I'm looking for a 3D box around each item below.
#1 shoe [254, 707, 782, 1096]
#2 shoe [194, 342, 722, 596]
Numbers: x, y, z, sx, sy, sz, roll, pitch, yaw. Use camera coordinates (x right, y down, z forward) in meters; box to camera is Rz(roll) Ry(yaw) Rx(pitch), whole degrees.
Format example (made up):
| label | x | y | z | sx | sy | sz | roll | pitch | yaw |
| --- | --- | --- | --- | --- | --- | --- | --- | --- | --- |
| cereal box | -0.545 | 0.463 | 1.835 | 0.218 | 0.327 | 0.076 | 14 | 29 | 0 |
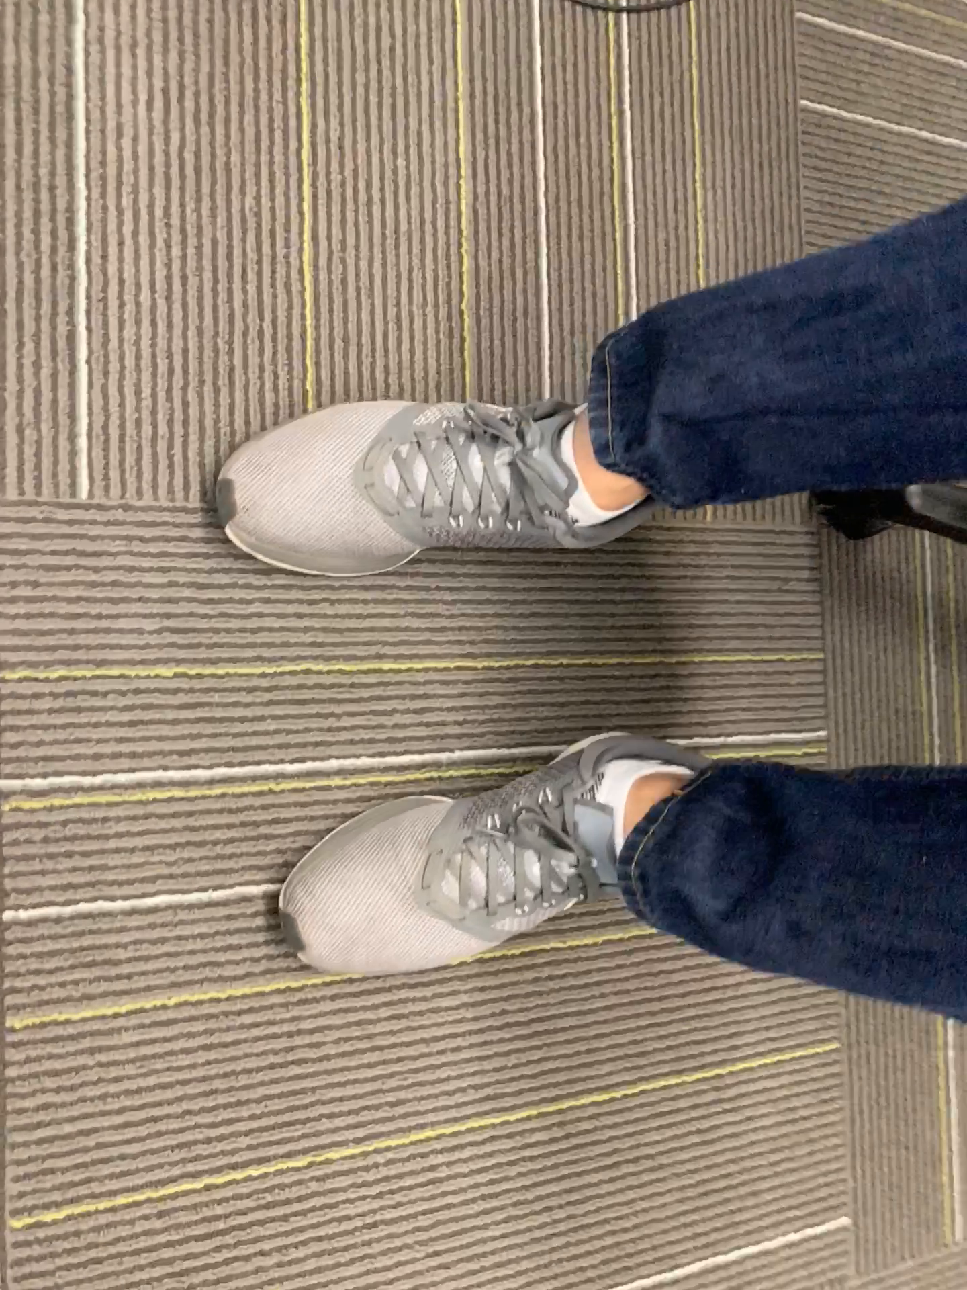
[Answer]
| label | x | y | z | sx | sy | sz | roll | pitch | yaw |
| --- | --- | --- | --- | --- | --- | --- | --- | --- | --- |
| shoe | 0.023 | 0.142 | 0.628 | 0.291 | 0.123 | 0.120 | -17 | 95 | -22 |
| shoe | -0.016 | -0.109 | 0.613 | 0.291 | 0.123 | 0.120 | -7 | 91 | -22 |
